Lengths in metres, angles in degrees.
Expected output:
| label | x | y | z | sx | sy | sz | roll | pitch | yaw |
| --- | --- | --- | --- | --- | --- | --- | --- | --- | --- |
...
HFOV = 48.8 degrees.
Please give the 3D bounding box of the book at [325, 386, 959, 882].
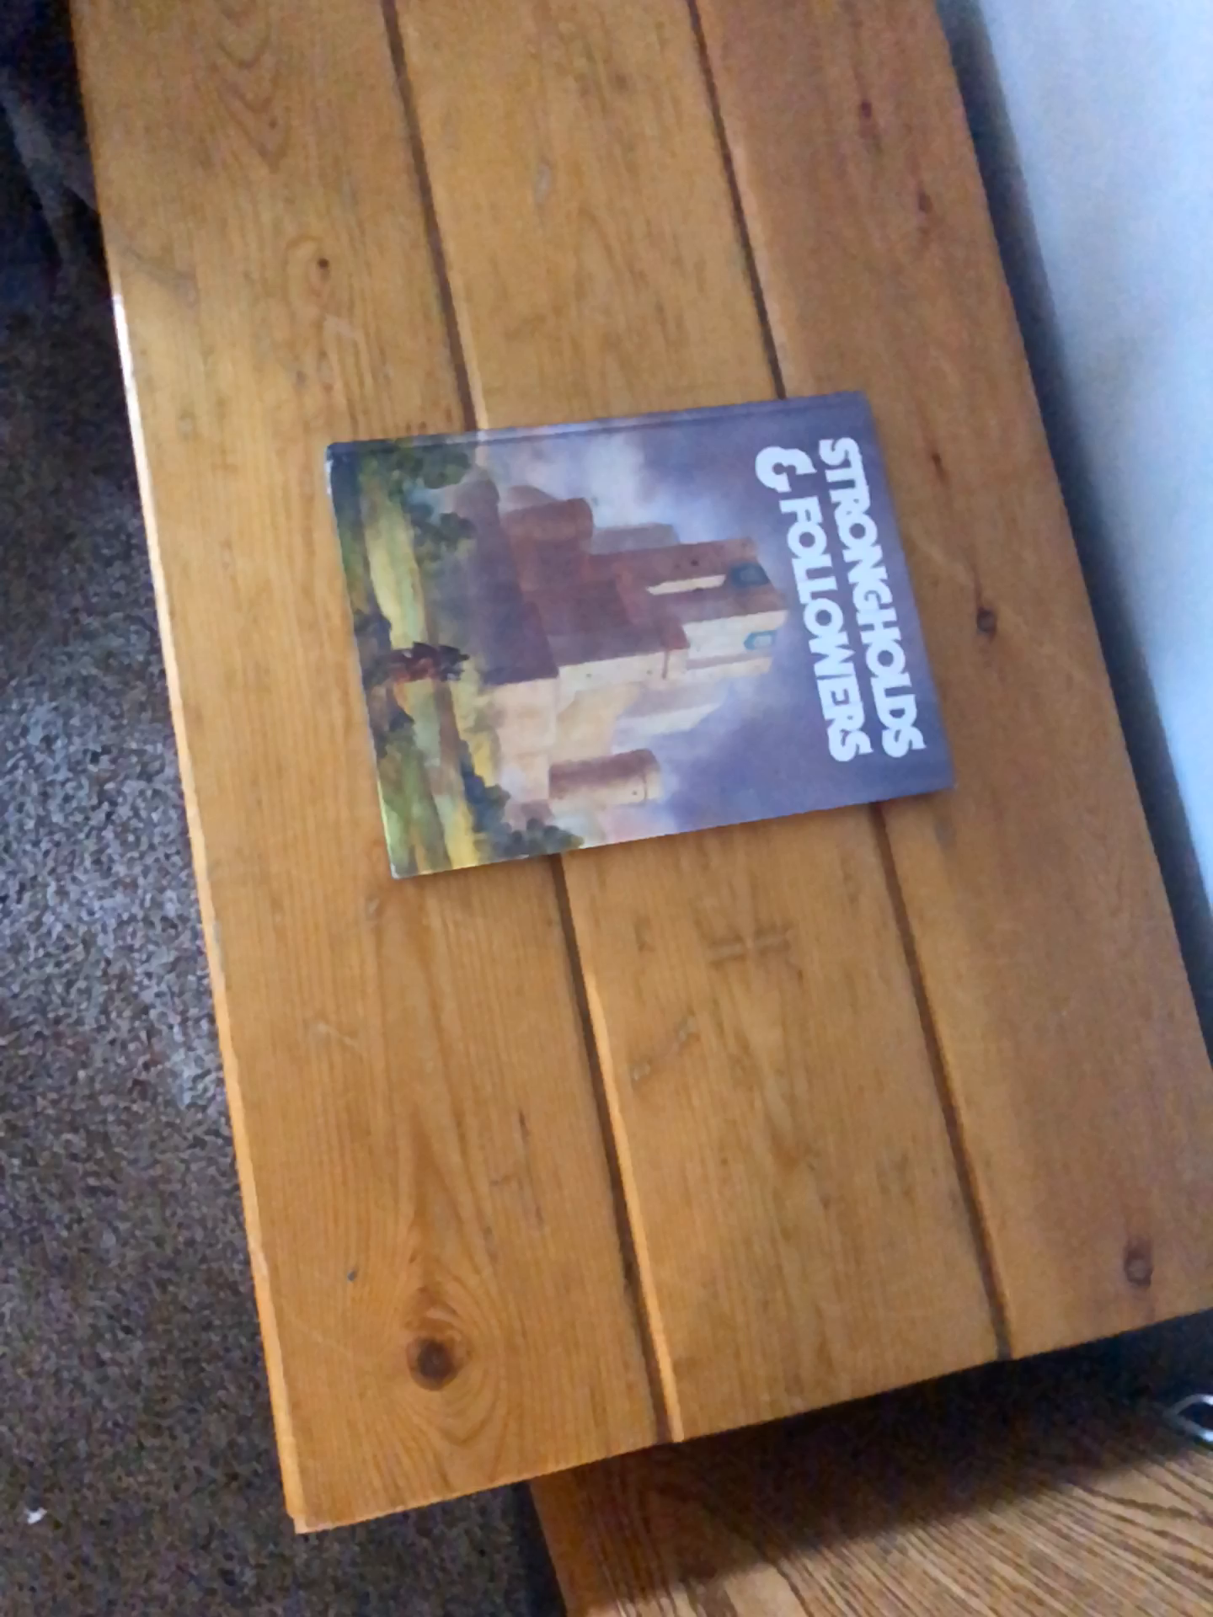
| label | x | y | z | sx | sy | sz | roll | pitch | yaw |
| --- | --- | --- | --- | --- | --- | --- | --- | --- | --- |
| book | 0.016 | -0.092 | 0.678 | 0.281 | 0.042 | 0.212 | -9 | 81 | -10 |
